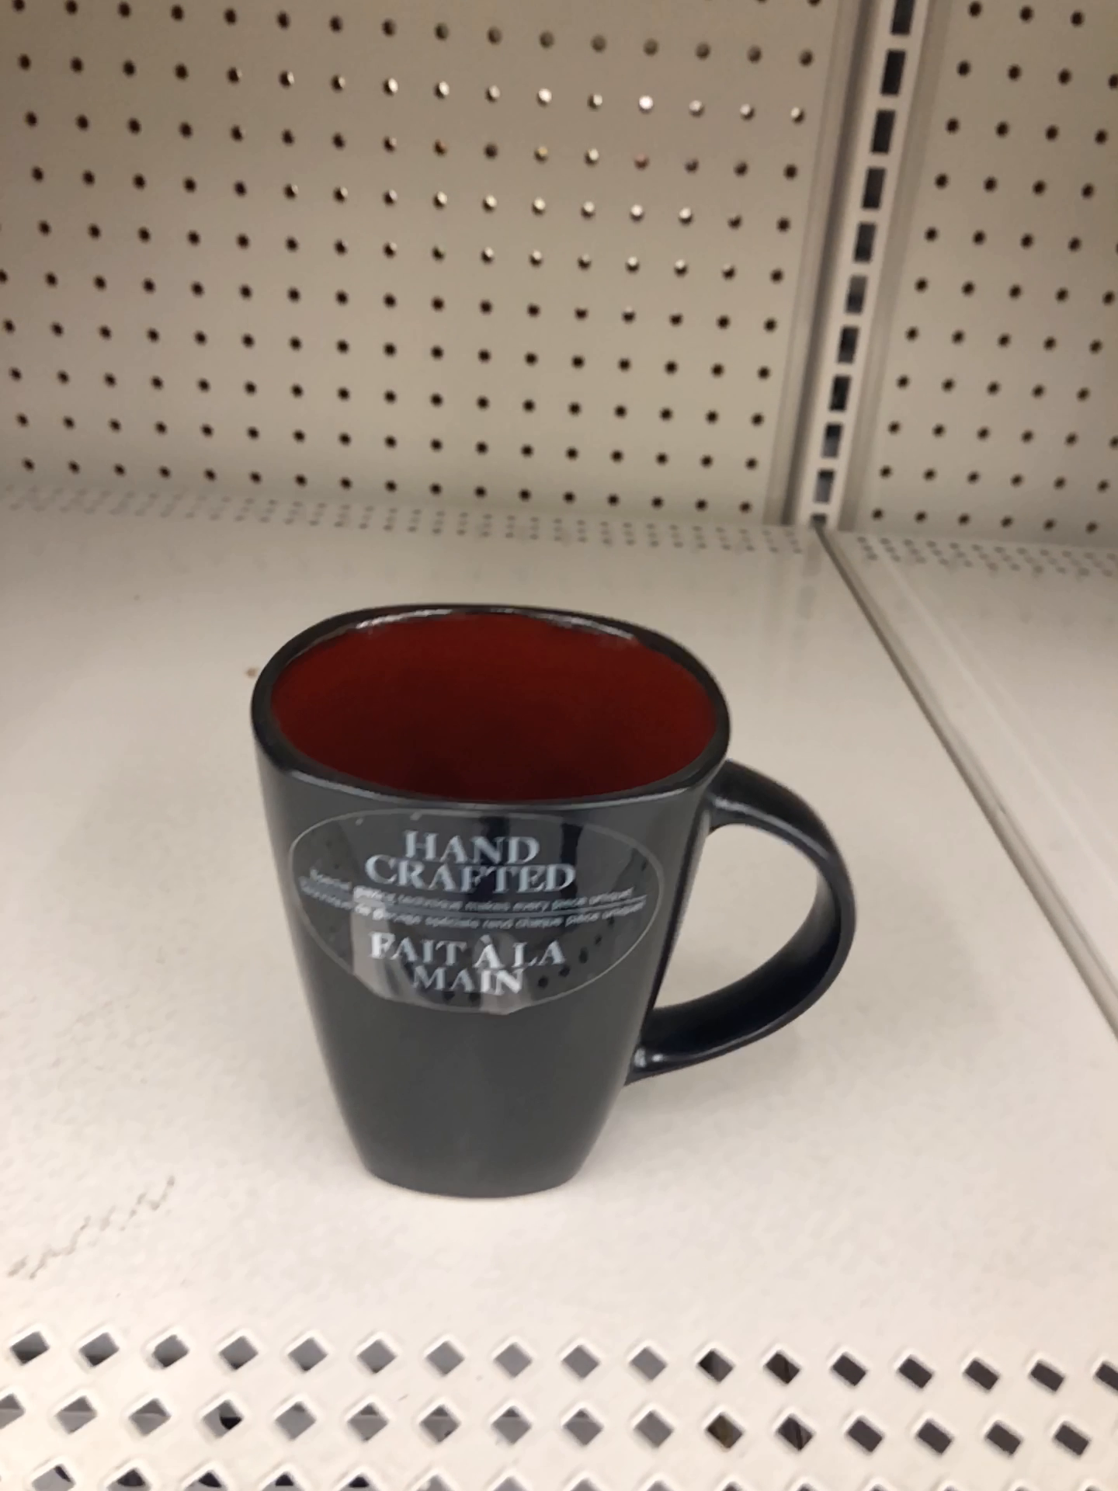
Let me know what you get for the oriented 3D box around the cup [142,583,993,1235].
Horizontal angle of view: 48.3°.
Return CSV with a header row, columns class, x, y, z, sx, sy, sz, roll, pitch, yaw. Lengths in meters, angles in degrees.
class,x,y,z,sx,sy,sz,roll,pitch,yaw
cup,-0.002,0.032,0.275,0.143,0.099,0.100,2,28,-3
